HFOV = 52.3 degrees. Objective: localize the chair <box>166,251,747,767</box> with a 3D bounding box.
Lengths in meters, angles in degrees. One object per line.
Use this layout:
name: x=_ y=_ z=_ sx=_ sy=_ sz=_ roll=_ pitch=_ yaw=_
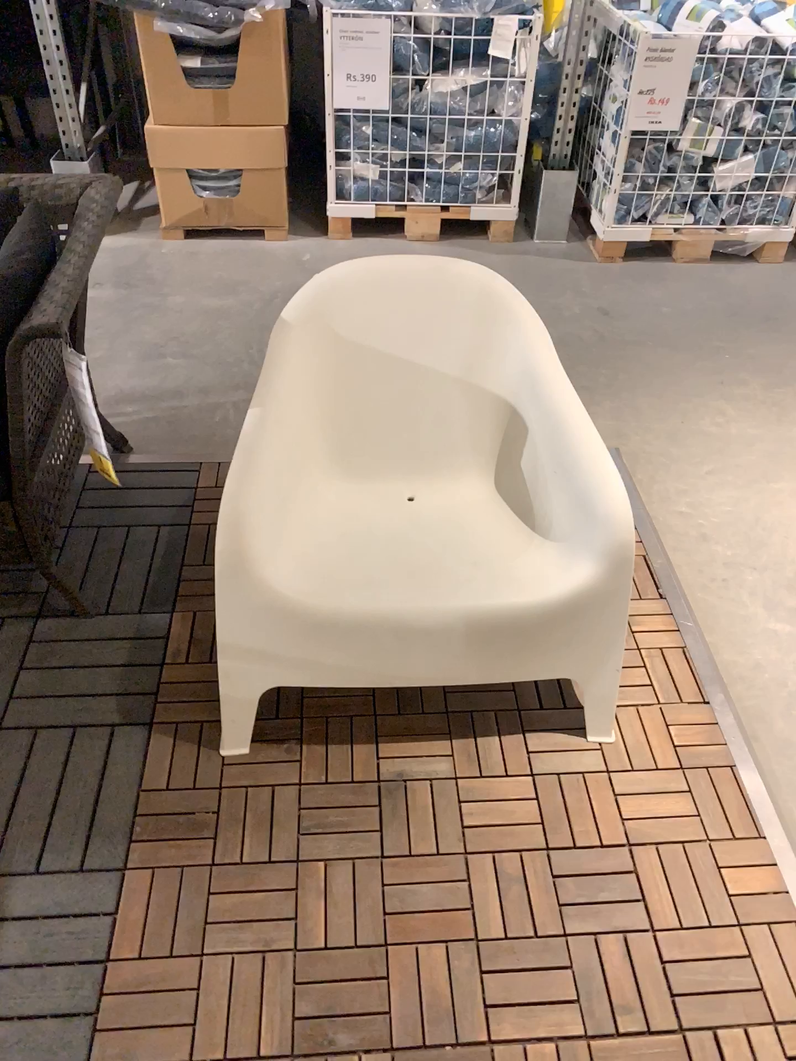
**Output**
chair: x=0.055 y=-0.066 z=1.564 sx=0.770 sy=0.637 sz=0.763 roll=-1 pitch=42 yaw=-4
